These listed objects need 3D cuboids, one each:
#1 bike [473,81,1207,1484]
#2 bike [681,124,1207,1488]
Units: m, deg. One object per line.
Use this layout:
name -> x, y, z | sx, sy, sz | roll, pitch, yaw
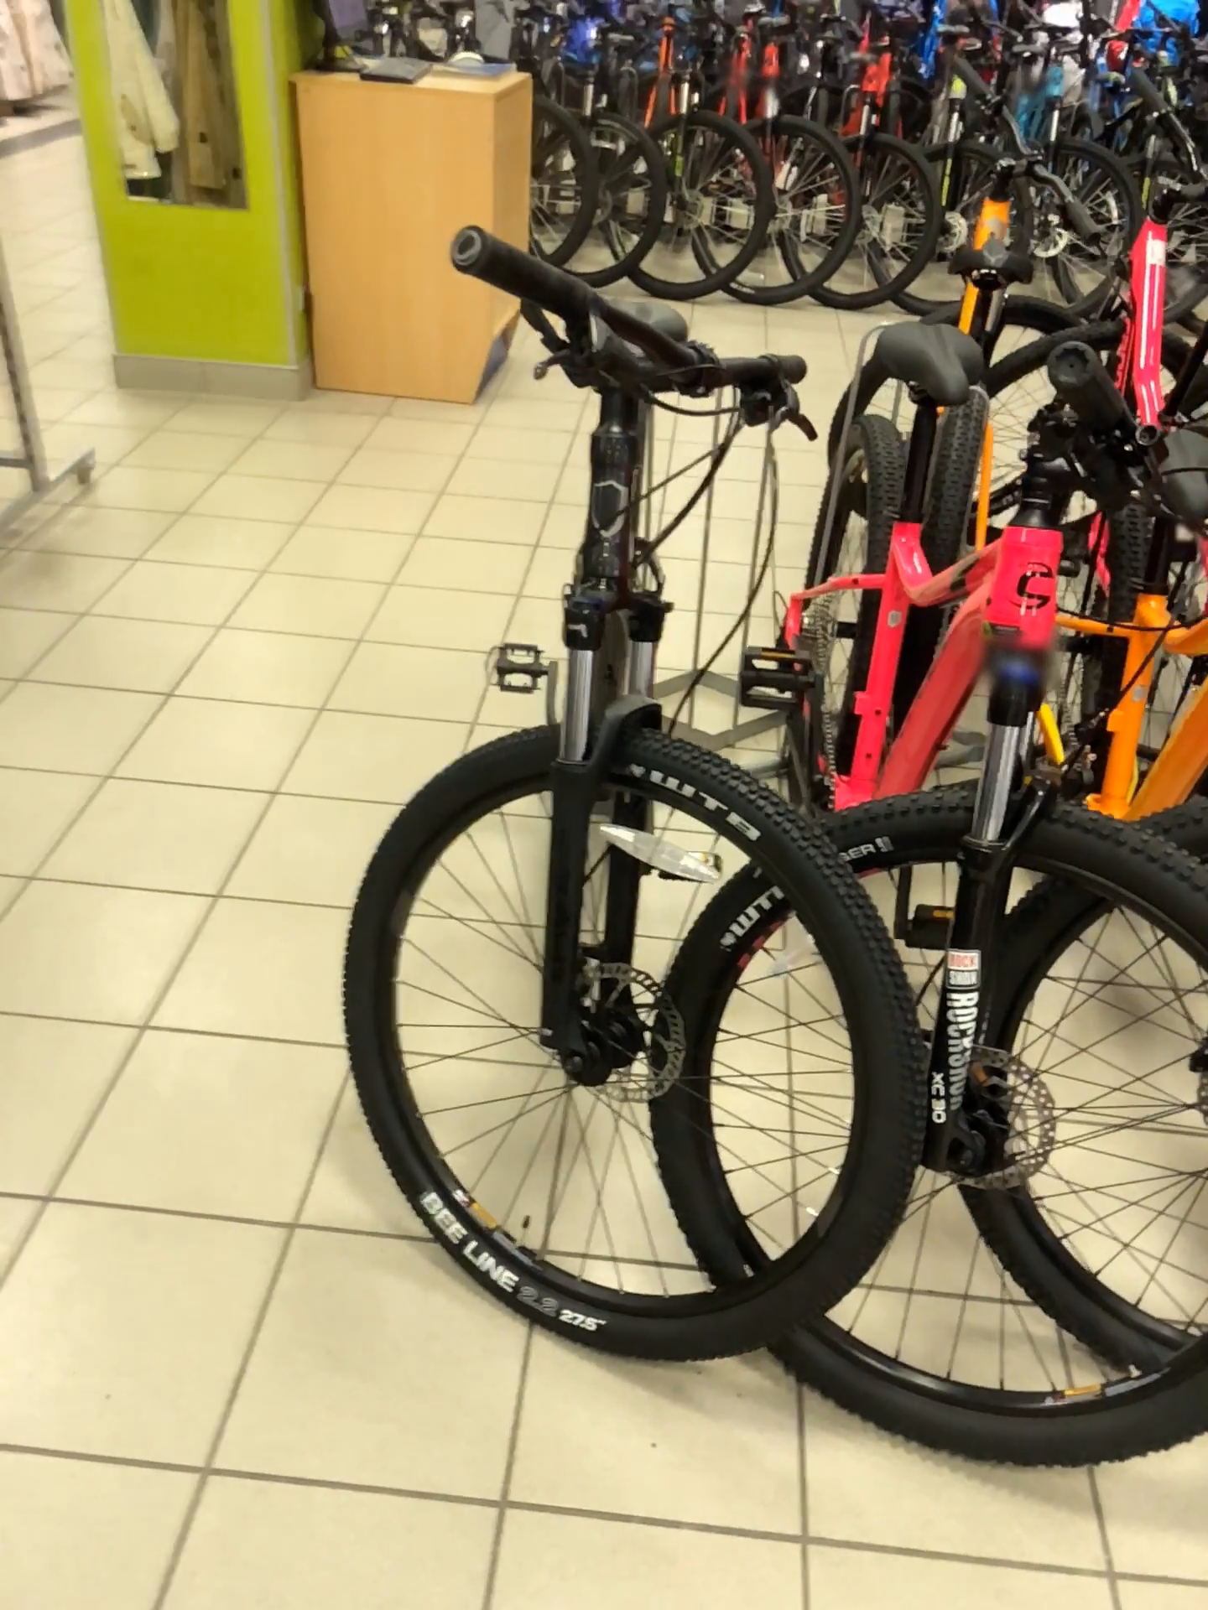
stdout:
bike -> 0.235, -0.225, 1.803 | 0.685, 1.101, 1.587 | -1, 35, -7
bike -> 0.636, -0.204, 1.741 | 0.653, 1.074, 1.572 | -1, 32, -7
